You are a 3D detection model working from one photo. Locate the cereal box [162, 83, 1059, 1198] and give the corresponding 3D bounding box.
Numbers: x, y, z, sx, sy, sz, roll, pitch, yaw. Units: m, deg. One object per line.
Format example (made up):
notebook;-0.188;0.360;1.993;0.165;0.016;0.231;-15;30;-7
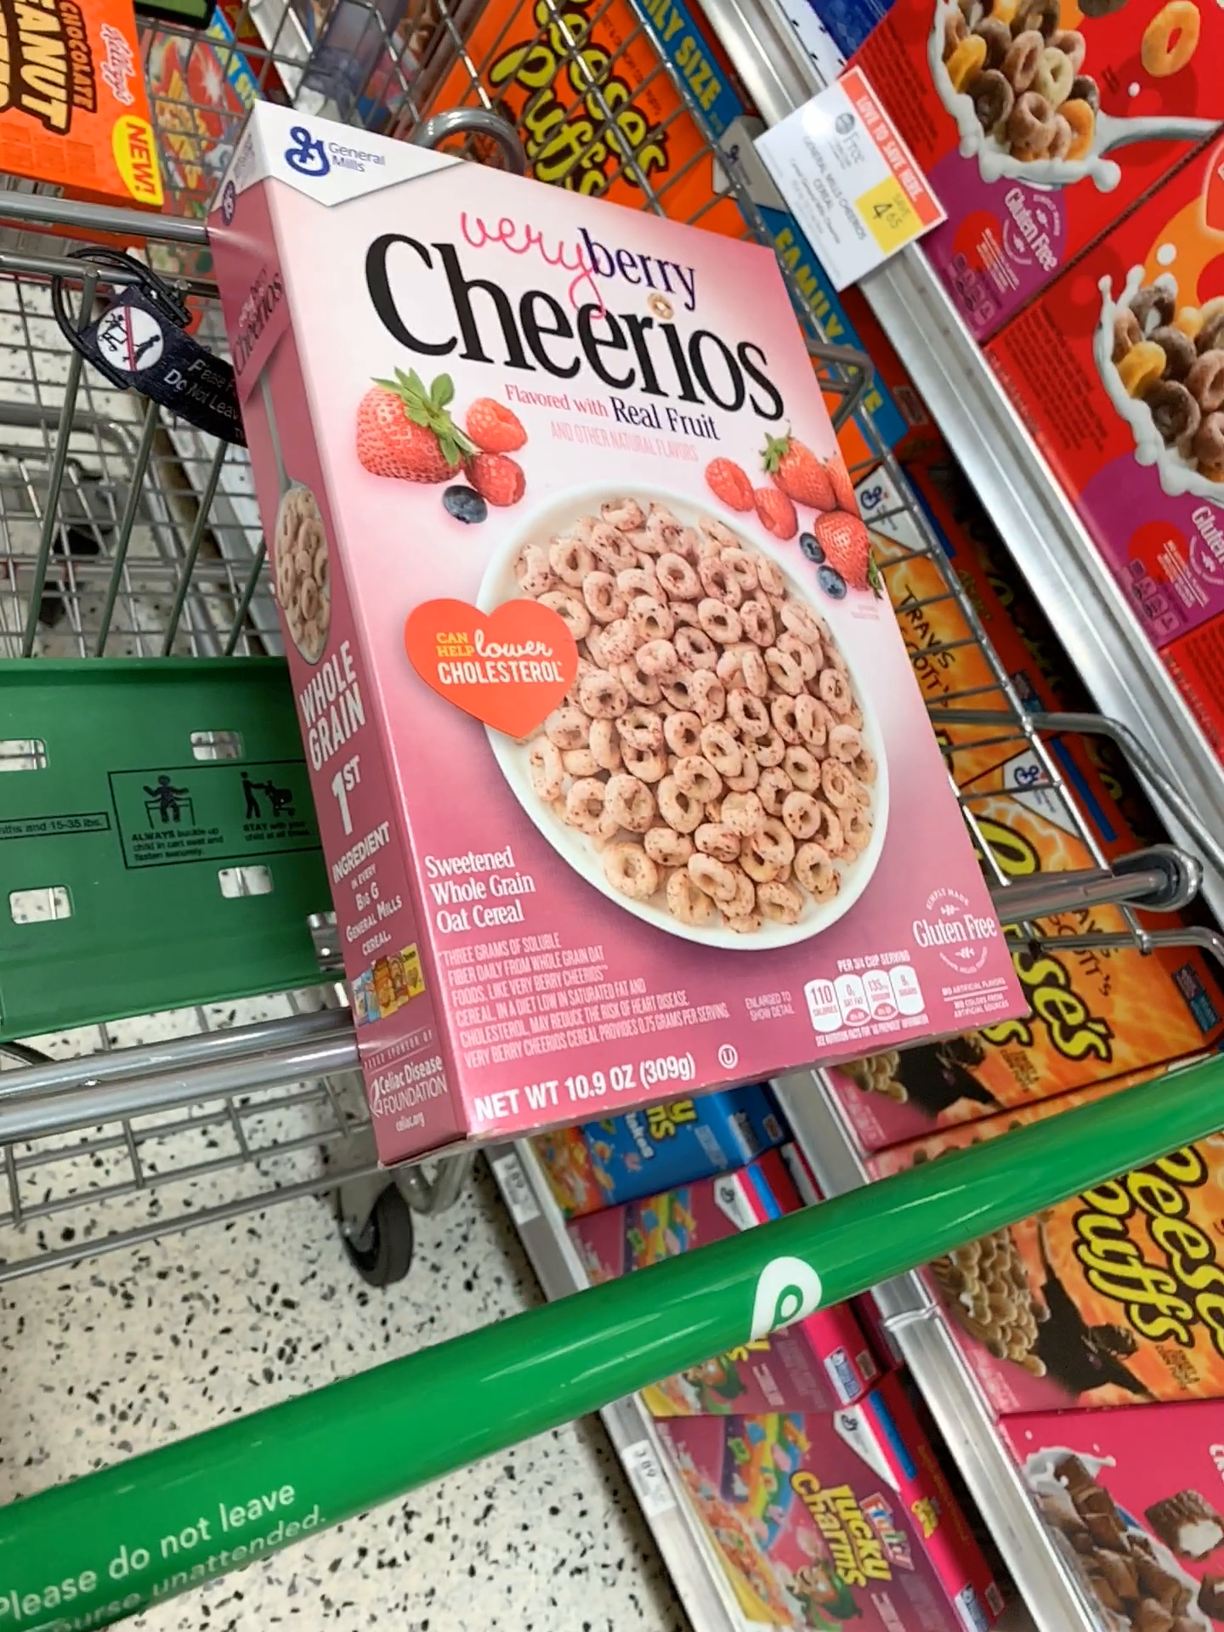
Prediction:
cereal box;0.001;-0.055;0.379;0.211;0.060;0.281;-3;72;-36
